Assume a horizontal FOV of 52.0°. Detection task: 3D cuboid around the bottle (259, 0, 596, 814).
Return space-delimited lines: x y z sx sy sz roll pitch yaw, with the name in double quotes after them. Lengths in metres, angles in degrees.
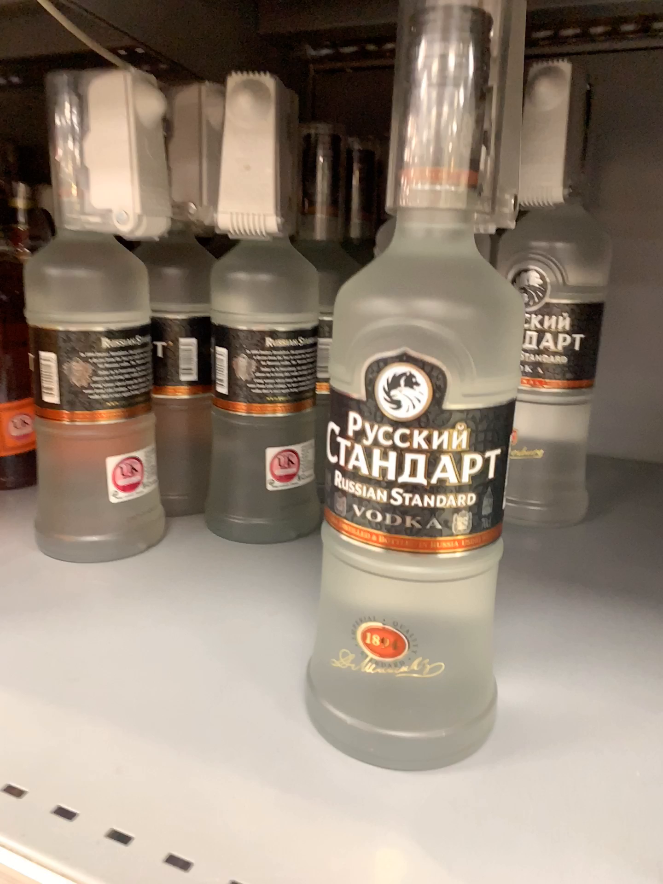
0.034 -0.020 0.270 0.092 0.288 0.088 2 15 0 "bottle"
